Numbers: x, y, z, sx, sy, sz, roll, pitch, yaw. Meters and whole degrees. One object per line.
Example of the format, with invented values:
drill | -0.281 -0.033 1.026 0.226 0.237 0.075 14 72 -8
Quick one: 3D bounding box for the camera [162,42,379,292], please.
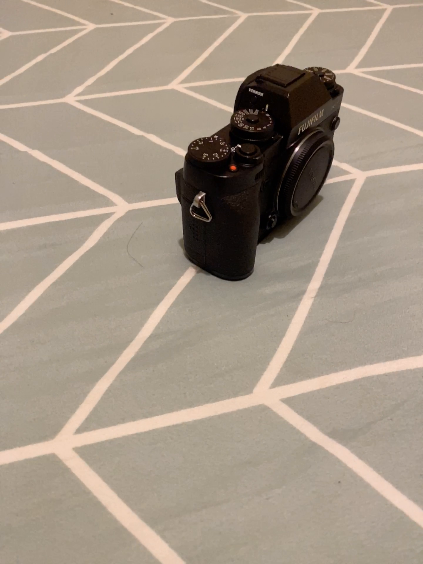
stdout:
camera | 0.036 -0.073 0.266 0.051 0.087 0.130 32 56 23
